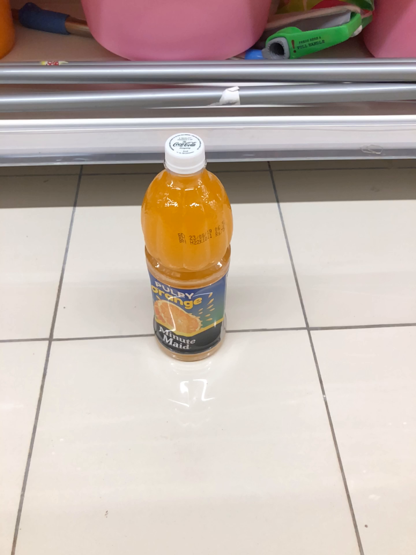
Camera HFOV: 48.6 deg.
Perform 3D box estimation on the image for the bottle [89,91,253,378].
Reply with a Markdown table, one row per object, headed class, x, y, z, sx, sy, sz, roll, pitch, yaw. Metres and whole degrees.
| class | x | y | z | sx | sy | sz | roll | pitch | yaw |
| --- | --- | --- | --- | --- | --- | --- | --- | --- | --- |
| bottle | -0.028 | -0.020 | 0.438 | 0.090 | 0.268 | 0.080 | 23 | 53 | 17 |
